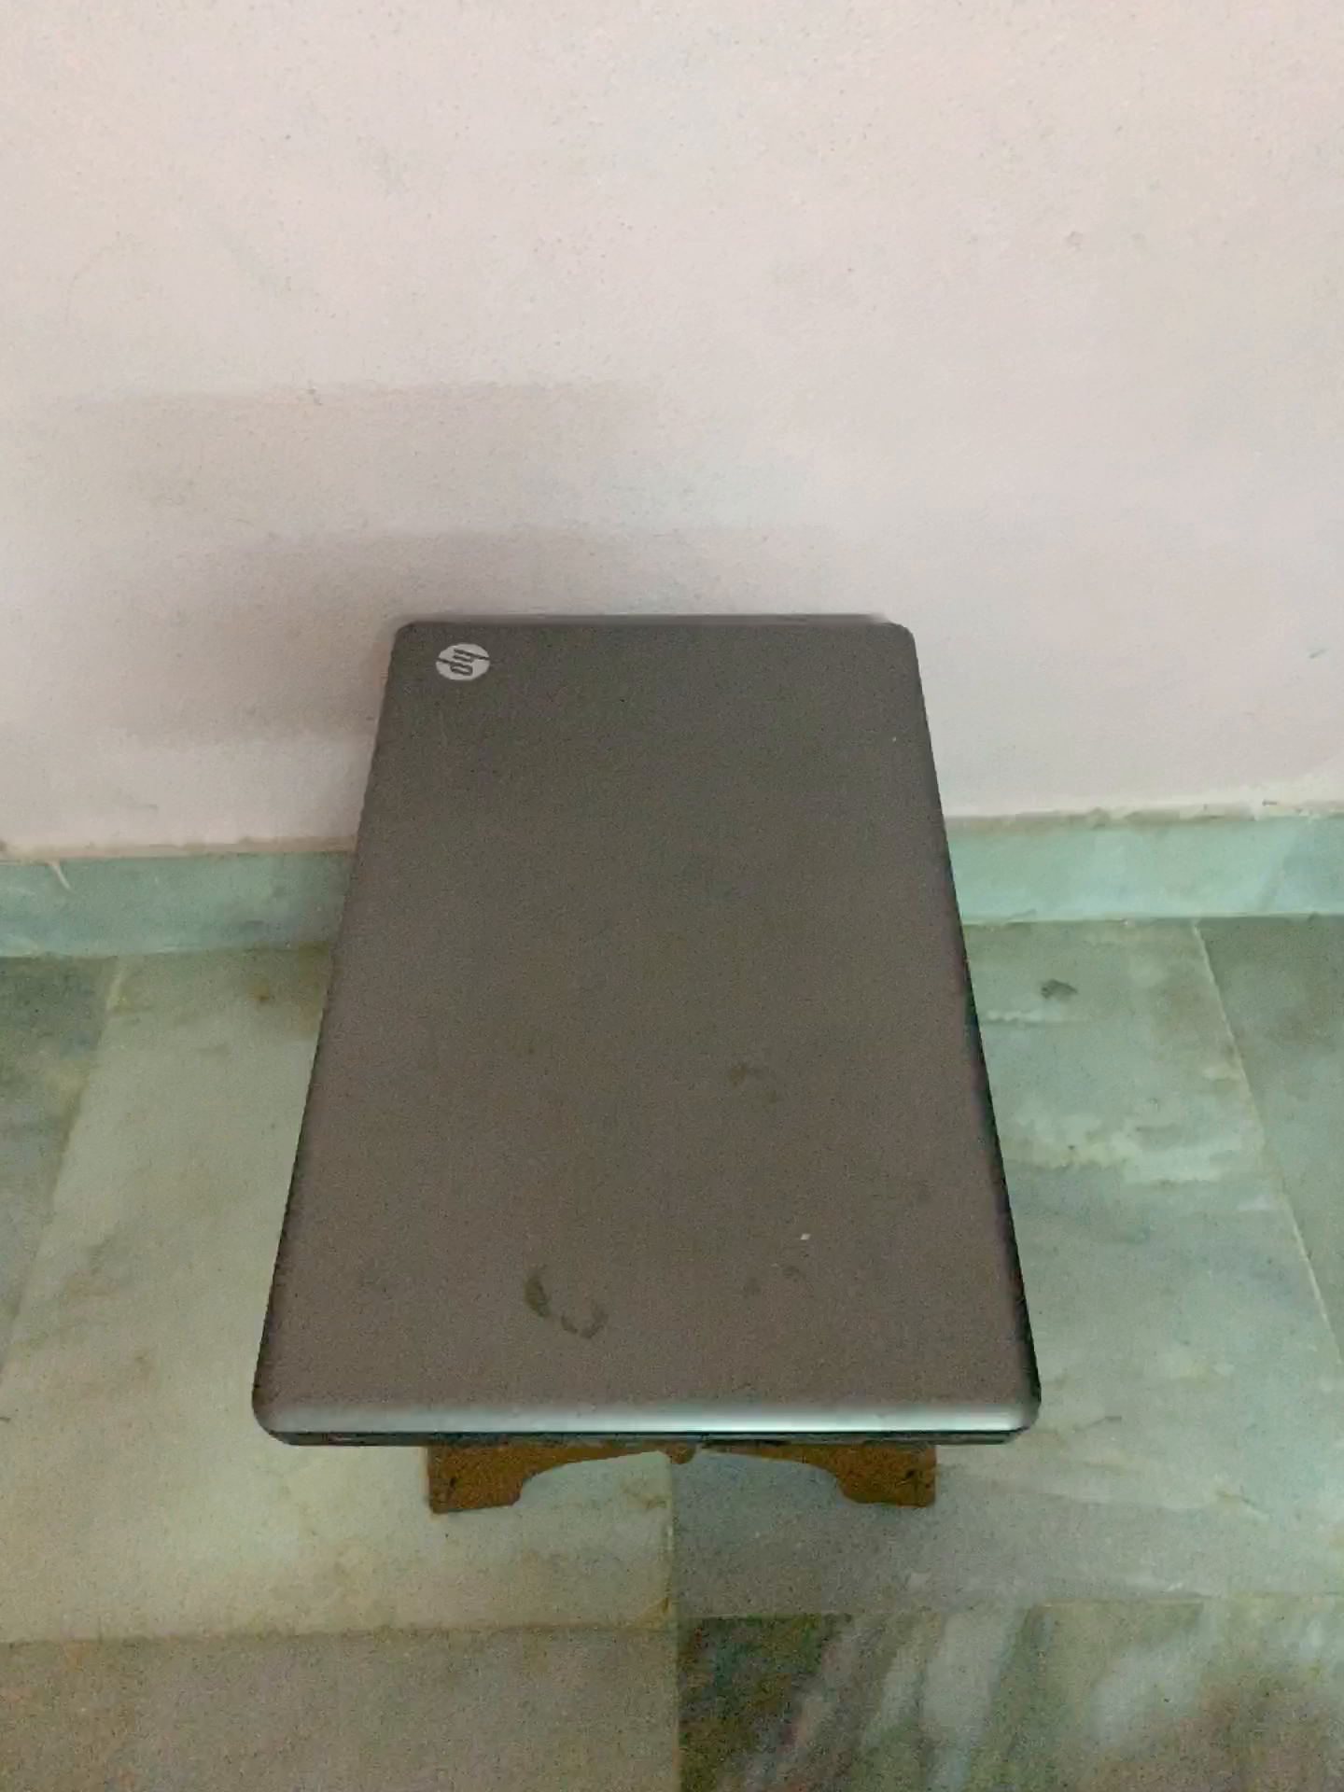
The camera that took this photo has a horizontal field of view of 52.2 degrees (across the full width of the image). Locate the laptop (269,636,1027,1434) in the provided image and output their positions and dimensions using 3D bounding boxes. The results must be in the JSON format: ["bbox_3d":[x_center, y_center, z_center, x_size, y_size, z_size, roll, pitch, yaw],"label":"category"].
[{"bbox_3d":[-0.007,0.022,0.557,0.242,0.003,0.380,0,52,0],"label":"laptop"}]
